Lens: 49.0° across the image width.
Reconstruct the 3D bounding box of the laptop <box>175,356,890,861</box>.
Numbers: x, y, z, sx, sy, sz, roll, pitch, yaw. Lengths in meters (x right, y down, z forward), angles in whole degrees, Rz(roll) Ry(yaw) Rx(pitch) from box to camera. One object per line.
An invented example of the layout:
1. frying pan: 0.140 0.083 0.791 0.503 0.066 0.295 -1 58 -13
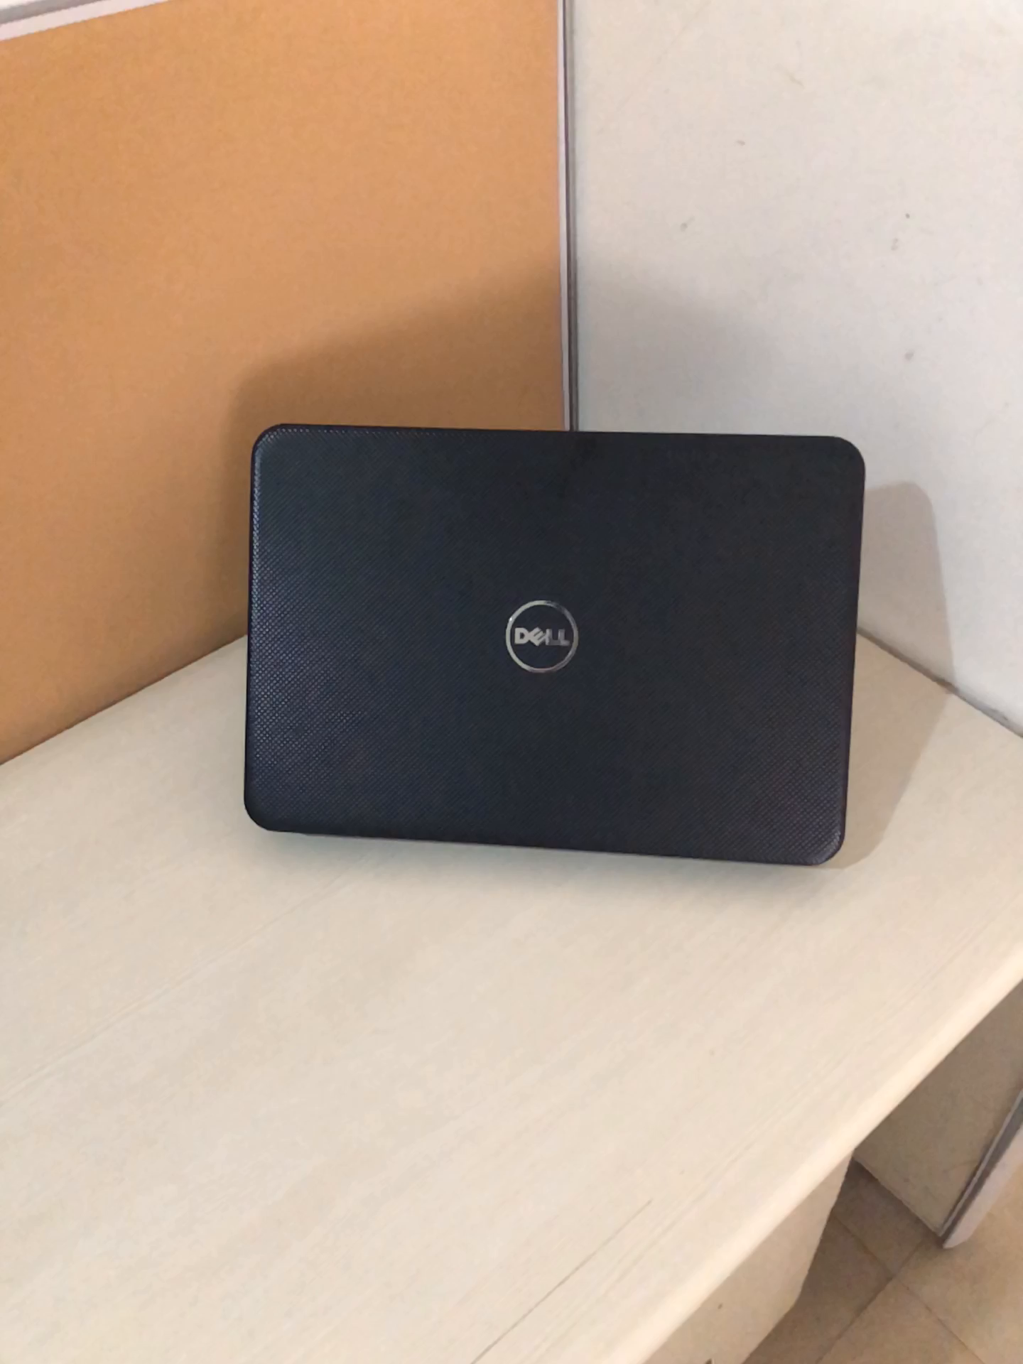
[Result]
1. laptop: 0.024 -0.056 0.706 0.351 0.179 0.256 4 43 5
